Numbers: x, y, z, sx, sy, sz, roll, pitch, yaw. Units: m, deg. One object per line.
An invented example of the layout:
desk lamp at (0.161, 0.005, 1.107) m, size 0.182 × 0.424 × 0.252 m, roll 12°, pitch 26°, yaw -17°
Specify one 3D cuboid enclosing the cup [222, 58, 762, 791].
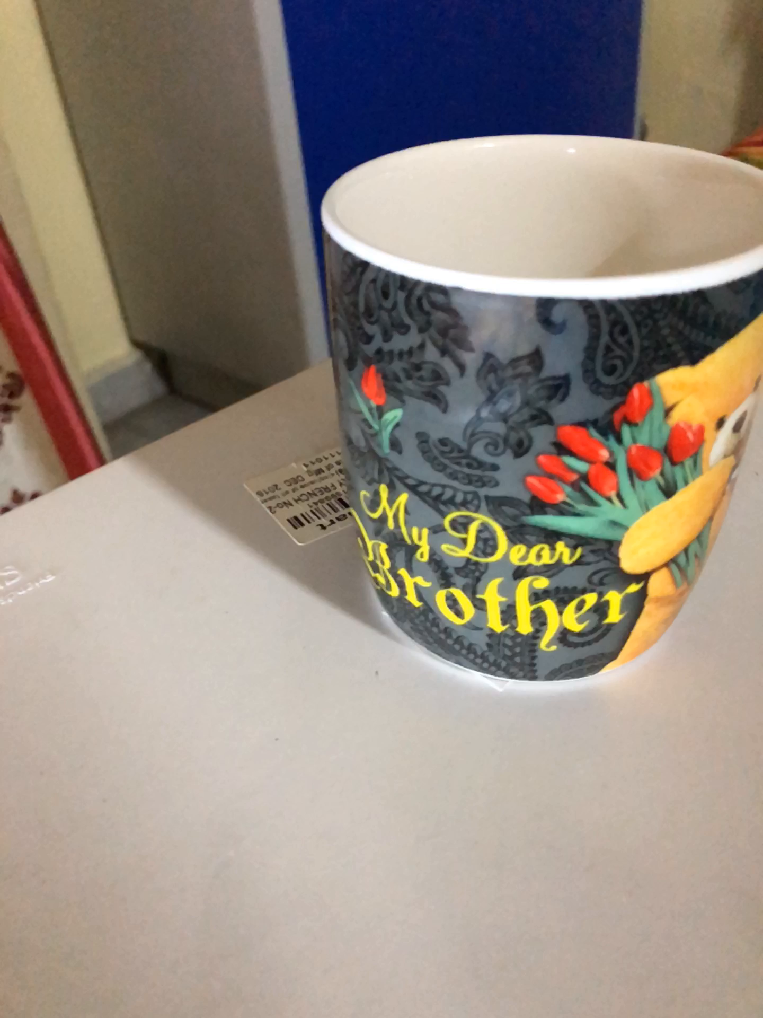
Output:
cup at (0.051, -0.032, 0.190) m, size 0.131 × 0.099 × 0.080 m, roll -30°, pitch 41°, yaw -30°
